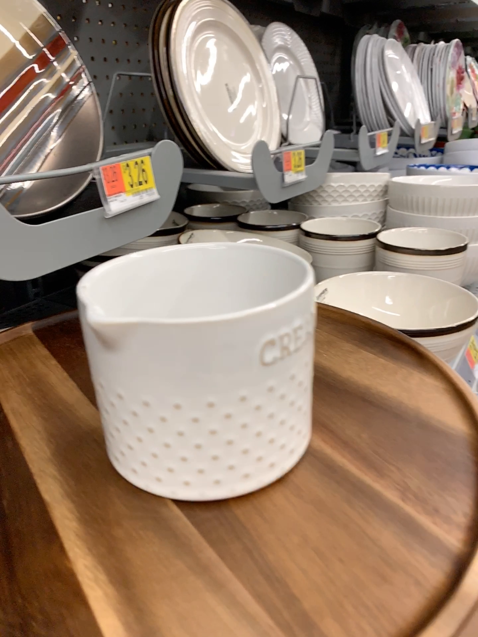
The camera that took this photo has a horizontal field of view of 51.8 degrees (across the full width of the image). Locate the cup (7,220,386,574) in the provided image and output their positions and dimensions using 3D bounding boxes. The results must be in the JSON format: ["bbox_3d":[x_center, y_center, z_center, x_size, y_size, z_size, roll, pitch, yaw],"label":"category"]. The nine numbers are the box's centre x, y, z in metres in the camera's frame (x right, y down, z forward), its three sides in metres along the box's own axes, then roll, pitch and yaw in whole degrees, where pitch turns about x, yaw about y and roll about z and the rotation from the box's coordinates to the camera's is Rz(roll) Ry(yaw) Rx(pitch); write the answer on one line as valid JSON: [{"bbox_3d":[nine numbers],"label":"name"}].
[{"bbox_3d":[-0.009,0.016,0.246,0.100,0.090,0.150,16,30,34],"label":"cup"}]
